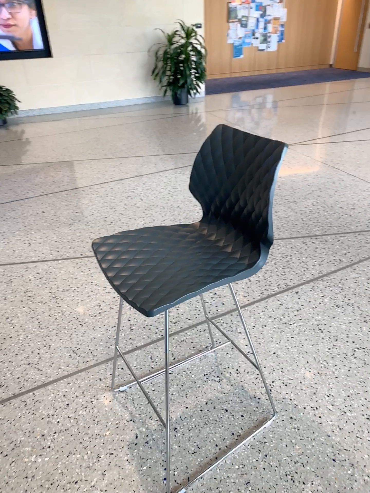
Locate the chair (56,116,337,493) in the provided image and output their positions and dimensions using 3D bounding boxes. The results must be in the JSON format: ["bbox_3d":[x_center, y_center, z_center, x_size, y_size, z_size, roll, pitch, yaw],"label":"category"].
[{"bbox_3d":[0.012,0.194,1.253,0.547,1.048,0.535,-16,33,-23],"label":"chair"}]
